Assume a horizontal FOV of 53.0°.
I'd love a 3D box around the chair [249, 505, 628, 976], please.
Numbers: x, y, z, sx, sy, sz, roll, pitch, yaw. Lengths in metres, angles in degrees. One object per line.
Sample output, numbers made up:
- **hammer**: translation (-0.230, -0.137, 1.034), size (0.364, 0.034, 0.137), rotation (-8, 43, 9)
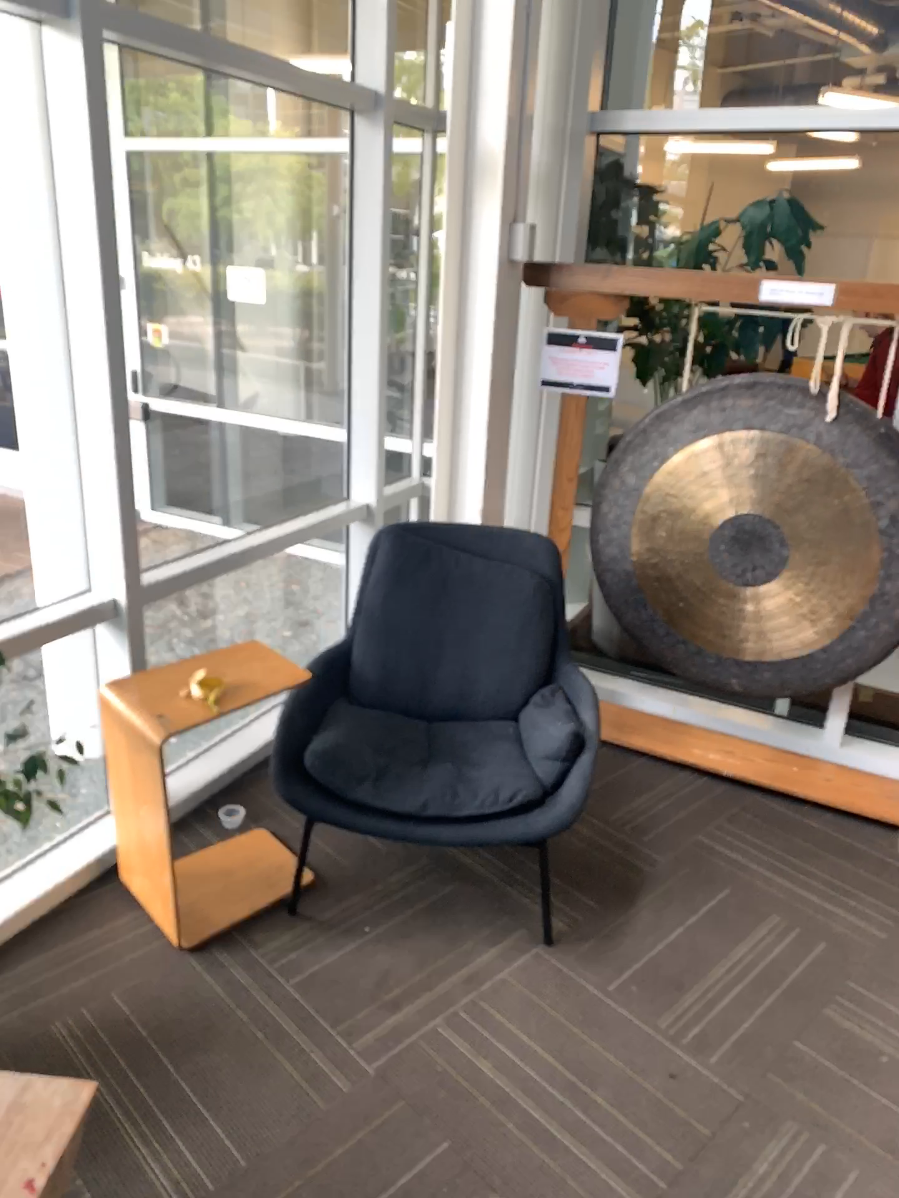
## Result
- **chair**: translation (-0.017, 0.352, 2.738), size (0.900, 0.995, 0.944), rotation (5, 20, 4)
